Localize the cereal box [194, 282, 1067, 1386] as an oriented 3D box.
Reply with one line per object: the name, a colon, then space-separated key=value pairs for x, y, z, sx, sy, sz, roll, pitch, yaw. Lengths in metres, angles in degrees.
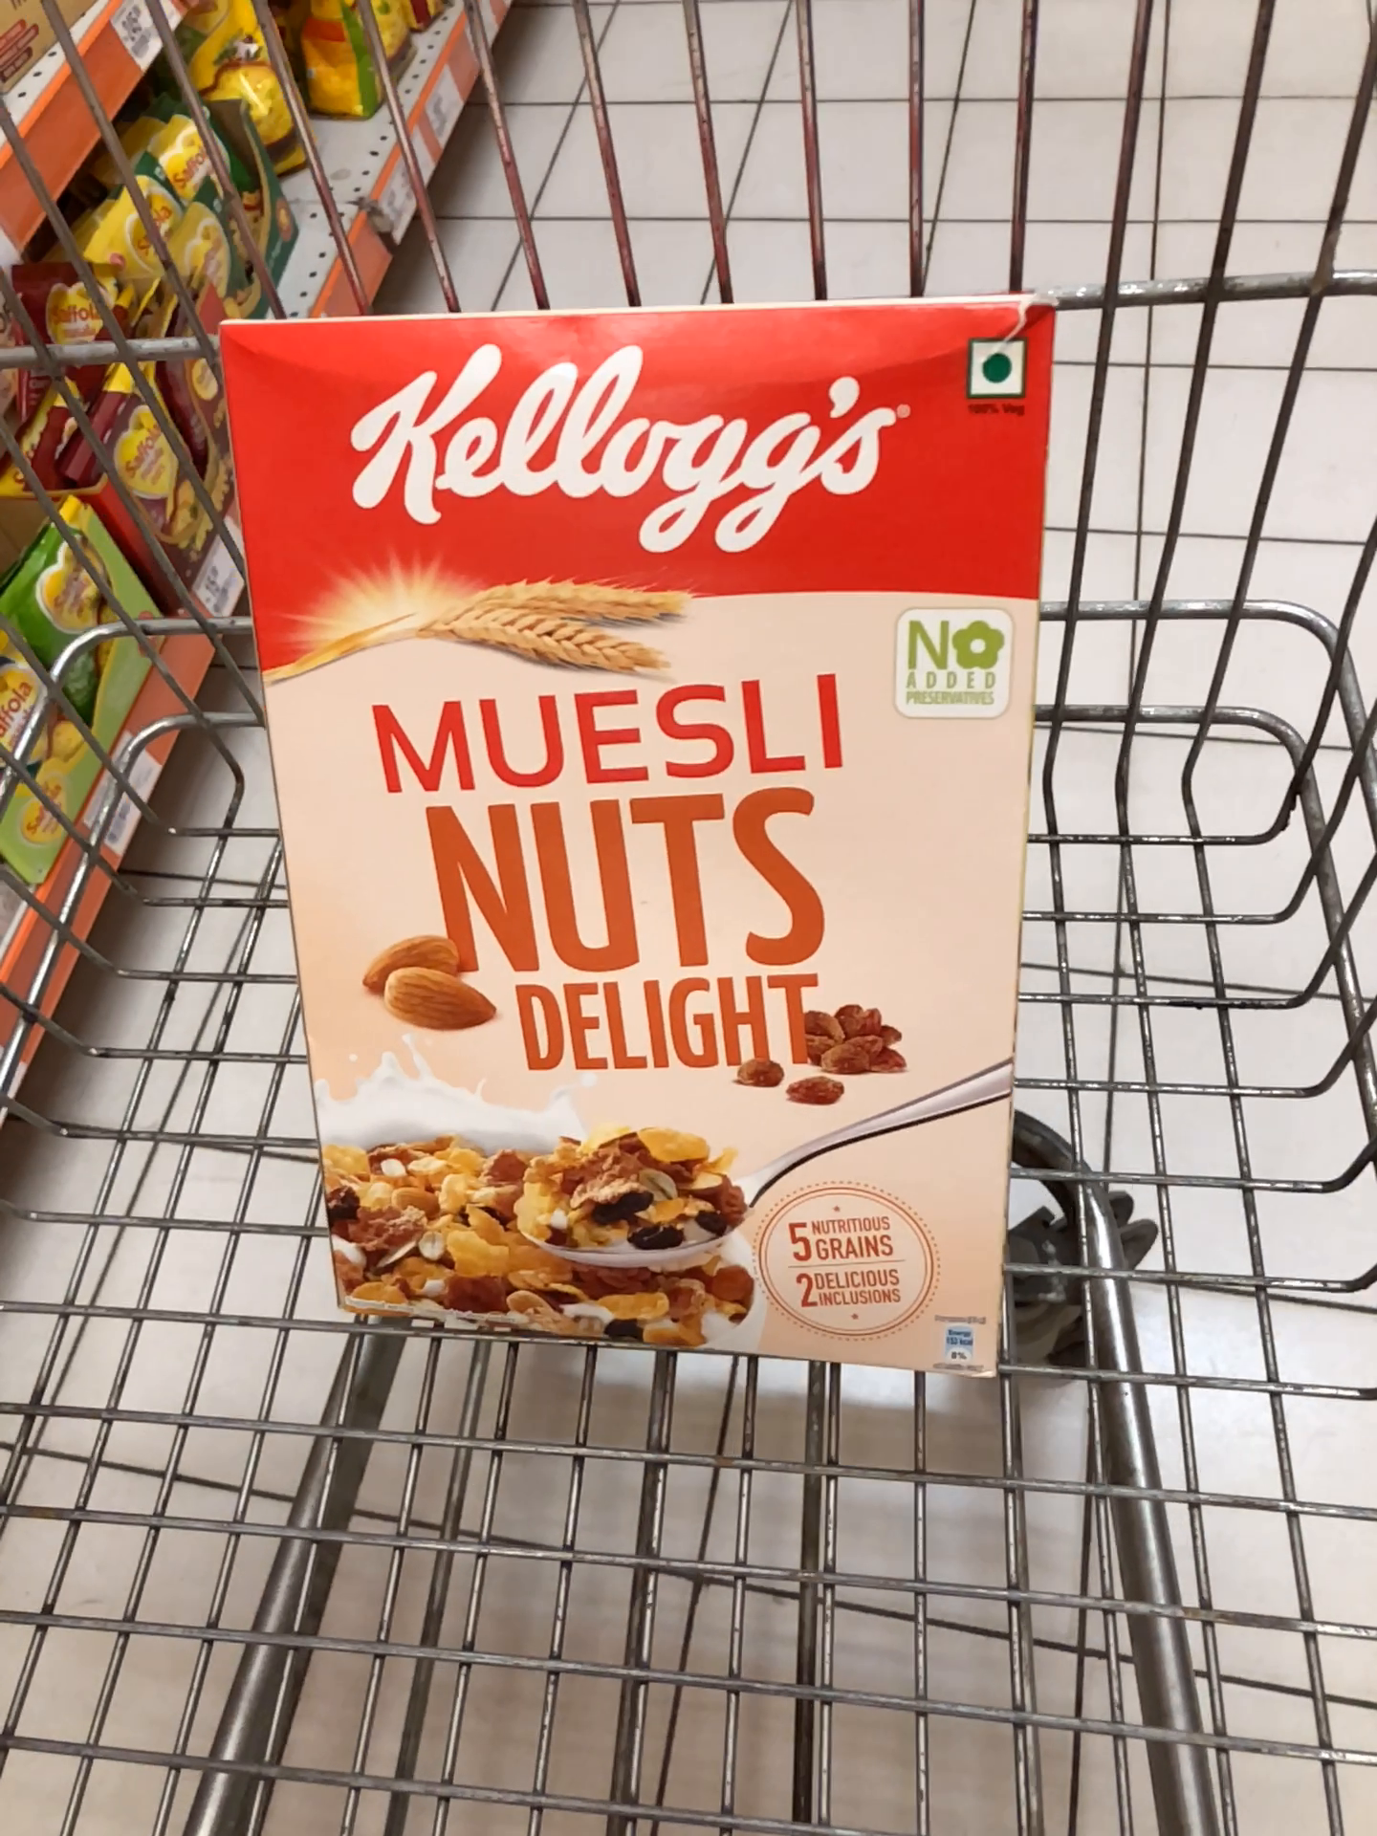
cereal box: x=-0.008 y=-0.020 z=0.380 sx=0.180 sy=0.249 sz=0.070 roll=3 pitch=20 yaw=11
